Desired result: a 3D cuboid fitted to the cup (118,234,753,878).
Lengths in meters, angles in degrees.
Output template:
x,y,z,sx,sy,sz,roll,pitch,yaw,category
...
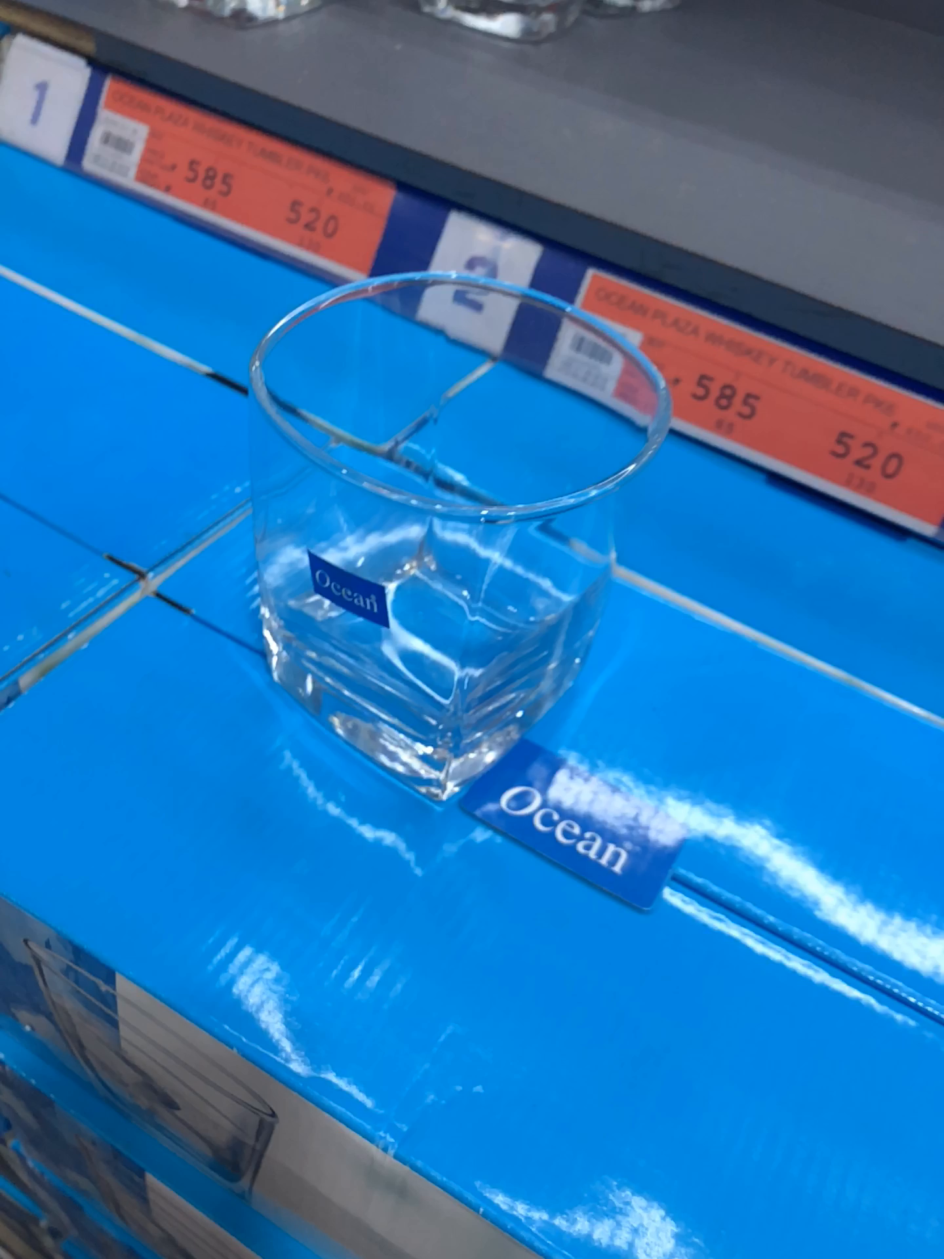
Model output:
x,y,z,sx,sy,sz,roll,pitch,yaw,category
-0.008,-0.021,0.239,0.090,0.080,0.090,5,44,-5,cup
